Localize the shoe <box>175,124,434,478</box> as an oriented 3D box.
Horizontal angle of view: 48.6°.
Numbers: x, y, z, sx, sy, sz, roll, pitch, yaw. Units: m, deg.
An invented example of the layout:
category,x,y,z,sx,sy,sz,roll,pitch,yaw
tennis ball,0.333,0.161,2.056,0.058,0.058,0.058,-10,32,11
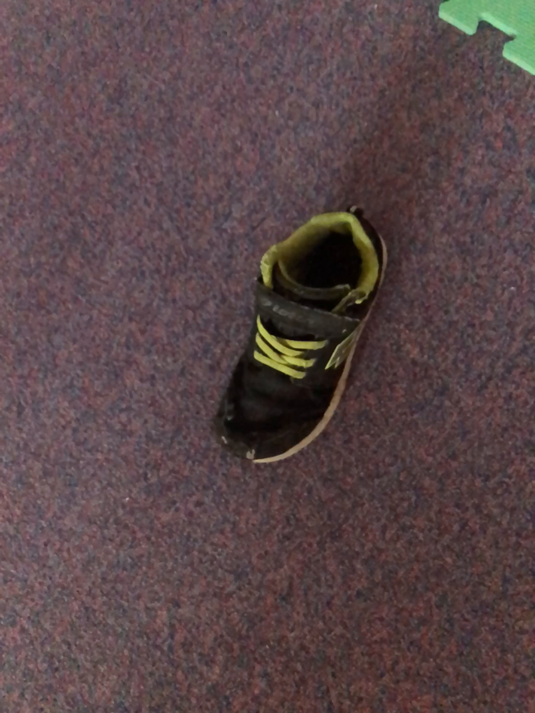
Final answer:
category,x,y,z,sx,sy,sz,roll,pitch,yaw
shoe,0.032,-0.034,0.436,0.090,0.100,0.220,23,85,12
